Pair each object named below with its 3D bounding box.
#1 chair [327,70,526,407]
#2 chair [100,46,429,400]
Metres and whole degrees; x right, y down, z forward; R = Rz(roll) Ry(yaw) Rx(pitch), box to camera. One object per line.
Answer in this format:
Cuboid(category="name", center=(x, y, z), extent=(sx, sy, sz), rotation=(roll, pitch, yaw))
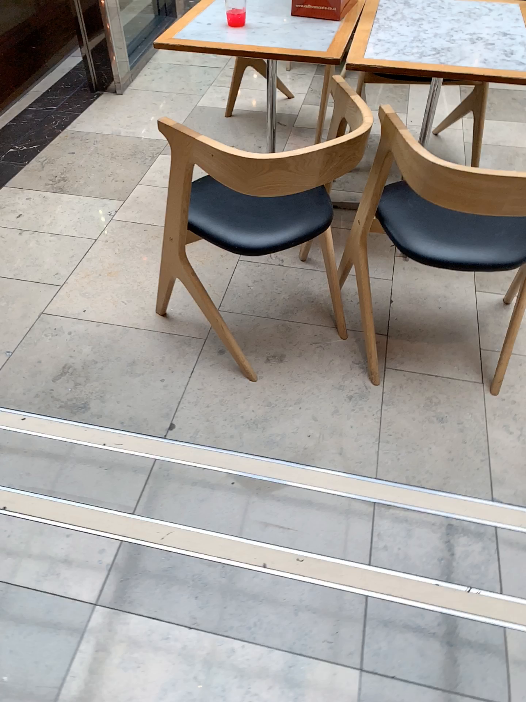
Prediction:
Cuboid(category="chair", center=(0.530, -0.299, 1.500), extent=(0.633, 0.717, 0.534), rotation=(4, 47, 4))
Cuboid(category="chair", center=(-0.005, -0.381, 1.572), extent=(0.645, 0.707, 0.503), rotation=(-24, 51, -21))
